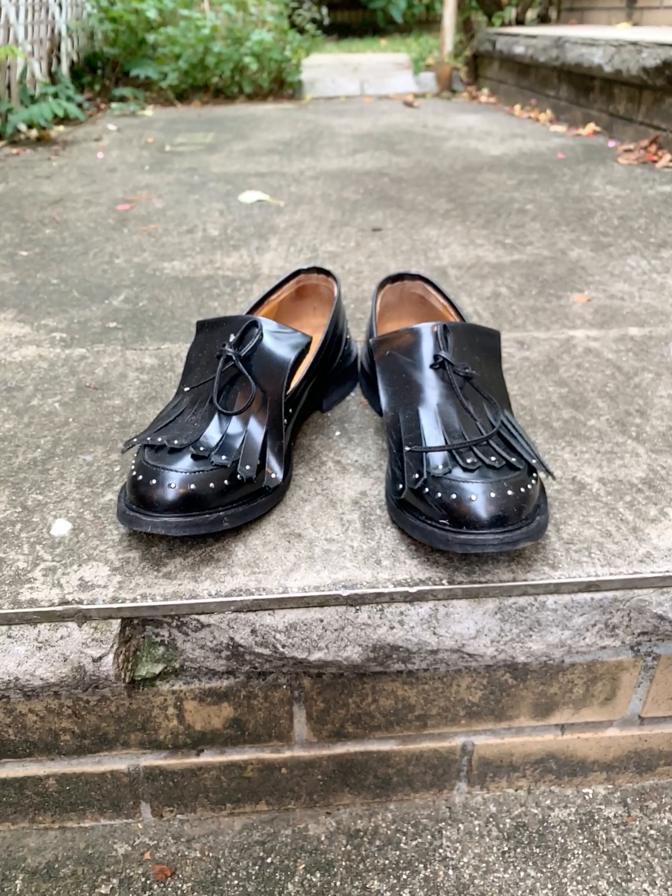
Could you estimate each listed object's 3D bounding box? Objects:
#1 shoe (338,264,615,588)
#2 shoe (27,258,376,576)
[{"bbox_3d":[0.061,-0.035,0.423,0.093,0.080,0.250,-3,32,-5],"label":"shoe"},{"bbox_3d":[-0.057,-0.041,0.431,0.094,0.080,0.247,9,33,18],"label":"shoe"}]
